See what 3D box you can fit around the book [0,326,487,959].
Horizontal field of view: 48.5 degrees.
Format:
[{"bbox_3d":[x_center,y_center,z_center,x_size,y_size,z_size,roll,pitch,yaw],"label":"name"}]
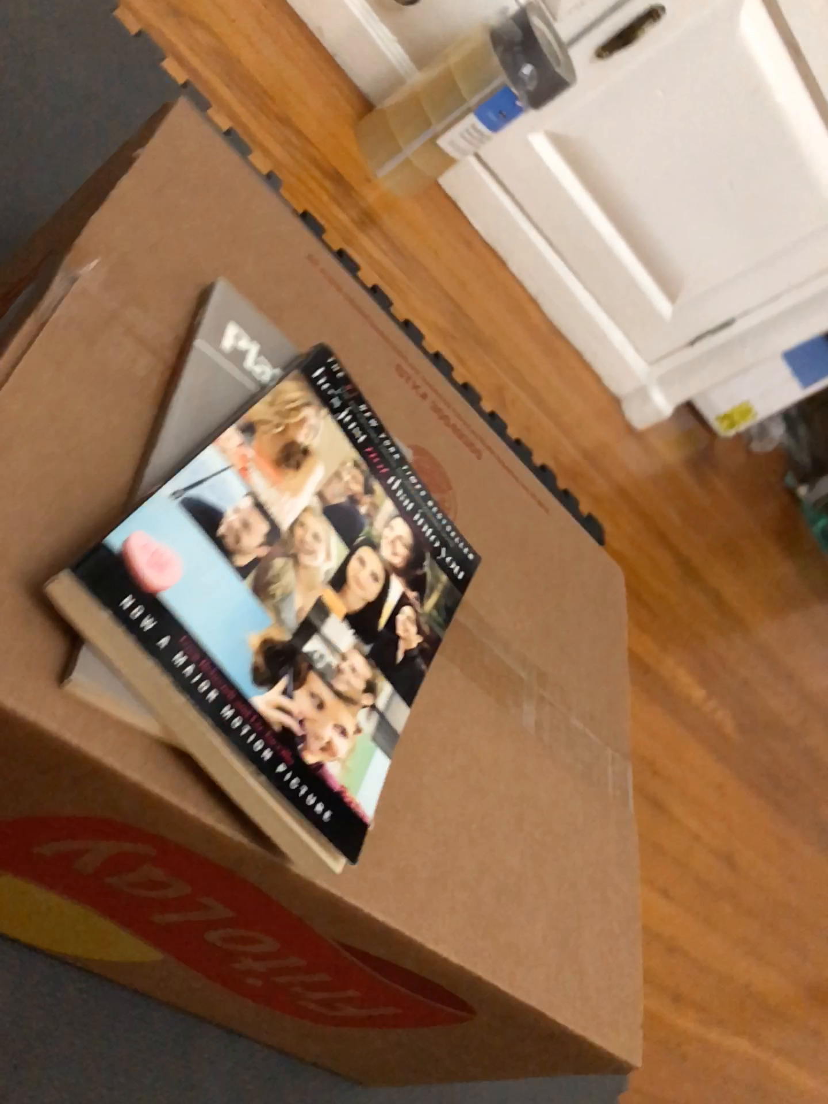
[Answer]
[{"bbox_3d":[-0.044,0.014,0.370,0.150,0.010,0.231,53,34,-18],"label":"book"}]
